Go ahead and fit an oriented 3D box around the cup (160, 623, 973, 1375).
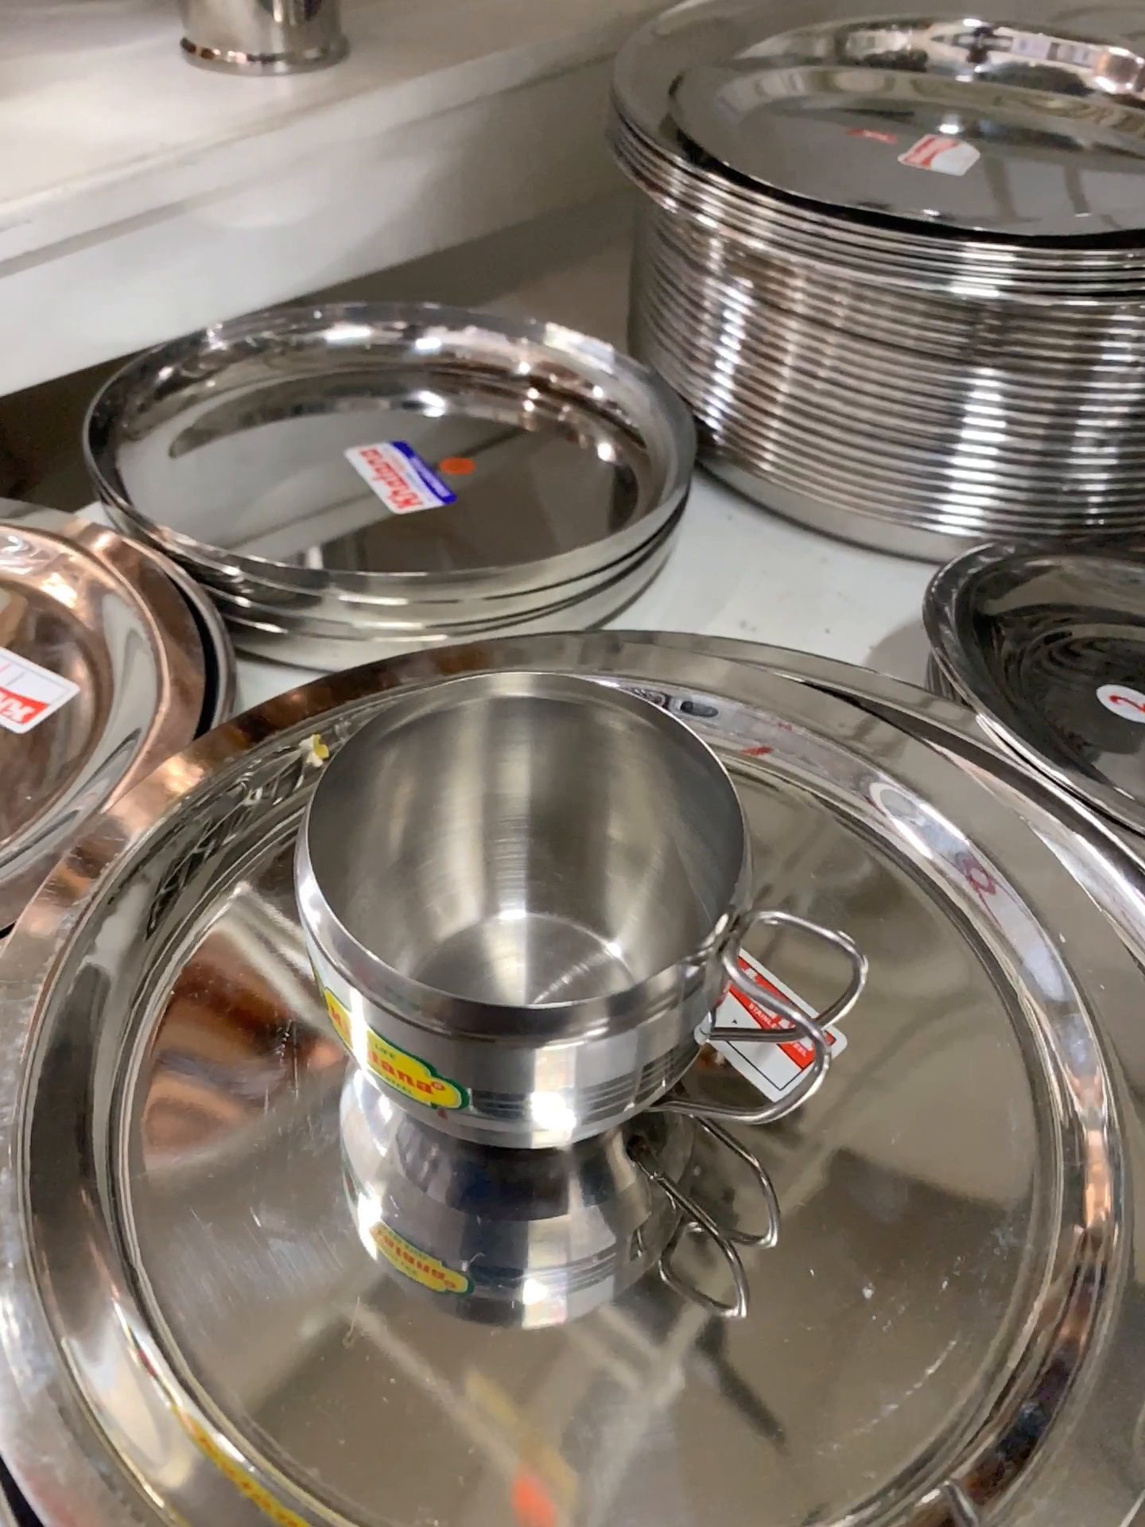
[{"bbox_3d":[0.000,0.028,0.180,0.090,0.040,0.070,24,48,21],"label":"cup"}]
